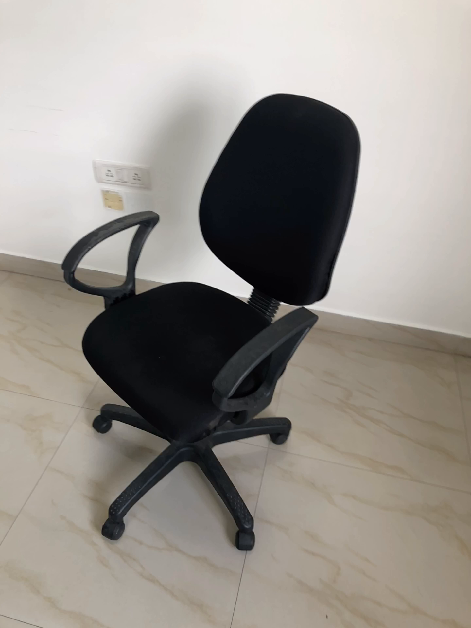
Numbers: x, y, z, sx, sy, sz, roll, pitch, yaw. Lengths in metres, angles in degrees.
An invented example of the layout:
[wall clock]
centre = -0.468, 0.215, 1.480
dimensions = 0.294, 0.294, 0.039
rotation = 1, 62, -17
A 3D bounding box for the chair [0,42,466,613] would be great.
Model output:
[chair]
centre = -0.072, -0.016, 1.176
dimensions = 0.682, 0.884, 0.673
rotation = 29, 46, 27
